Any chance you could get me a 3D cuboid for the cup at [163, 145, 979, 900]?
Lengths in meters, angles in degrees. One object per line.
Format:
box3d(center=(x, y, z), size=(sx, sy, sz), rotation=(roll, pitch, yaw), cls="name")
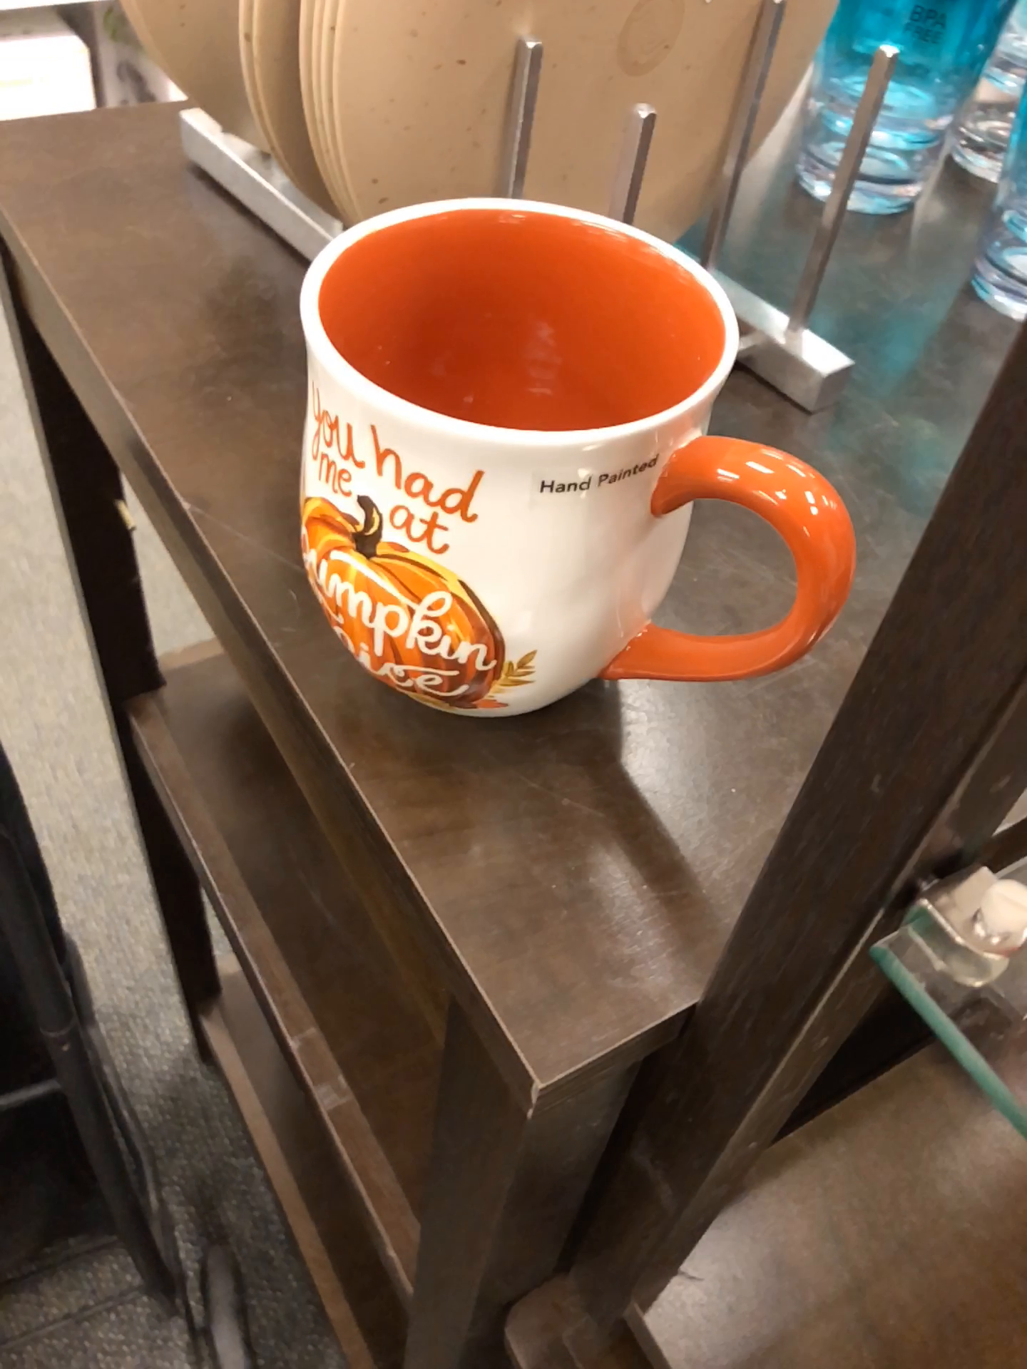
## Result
box3d(center=(0.010, -0.046, 0.280), size=(0.143, 0.094, 0.102), rotation=(32, 52, 20), cls="cup")
